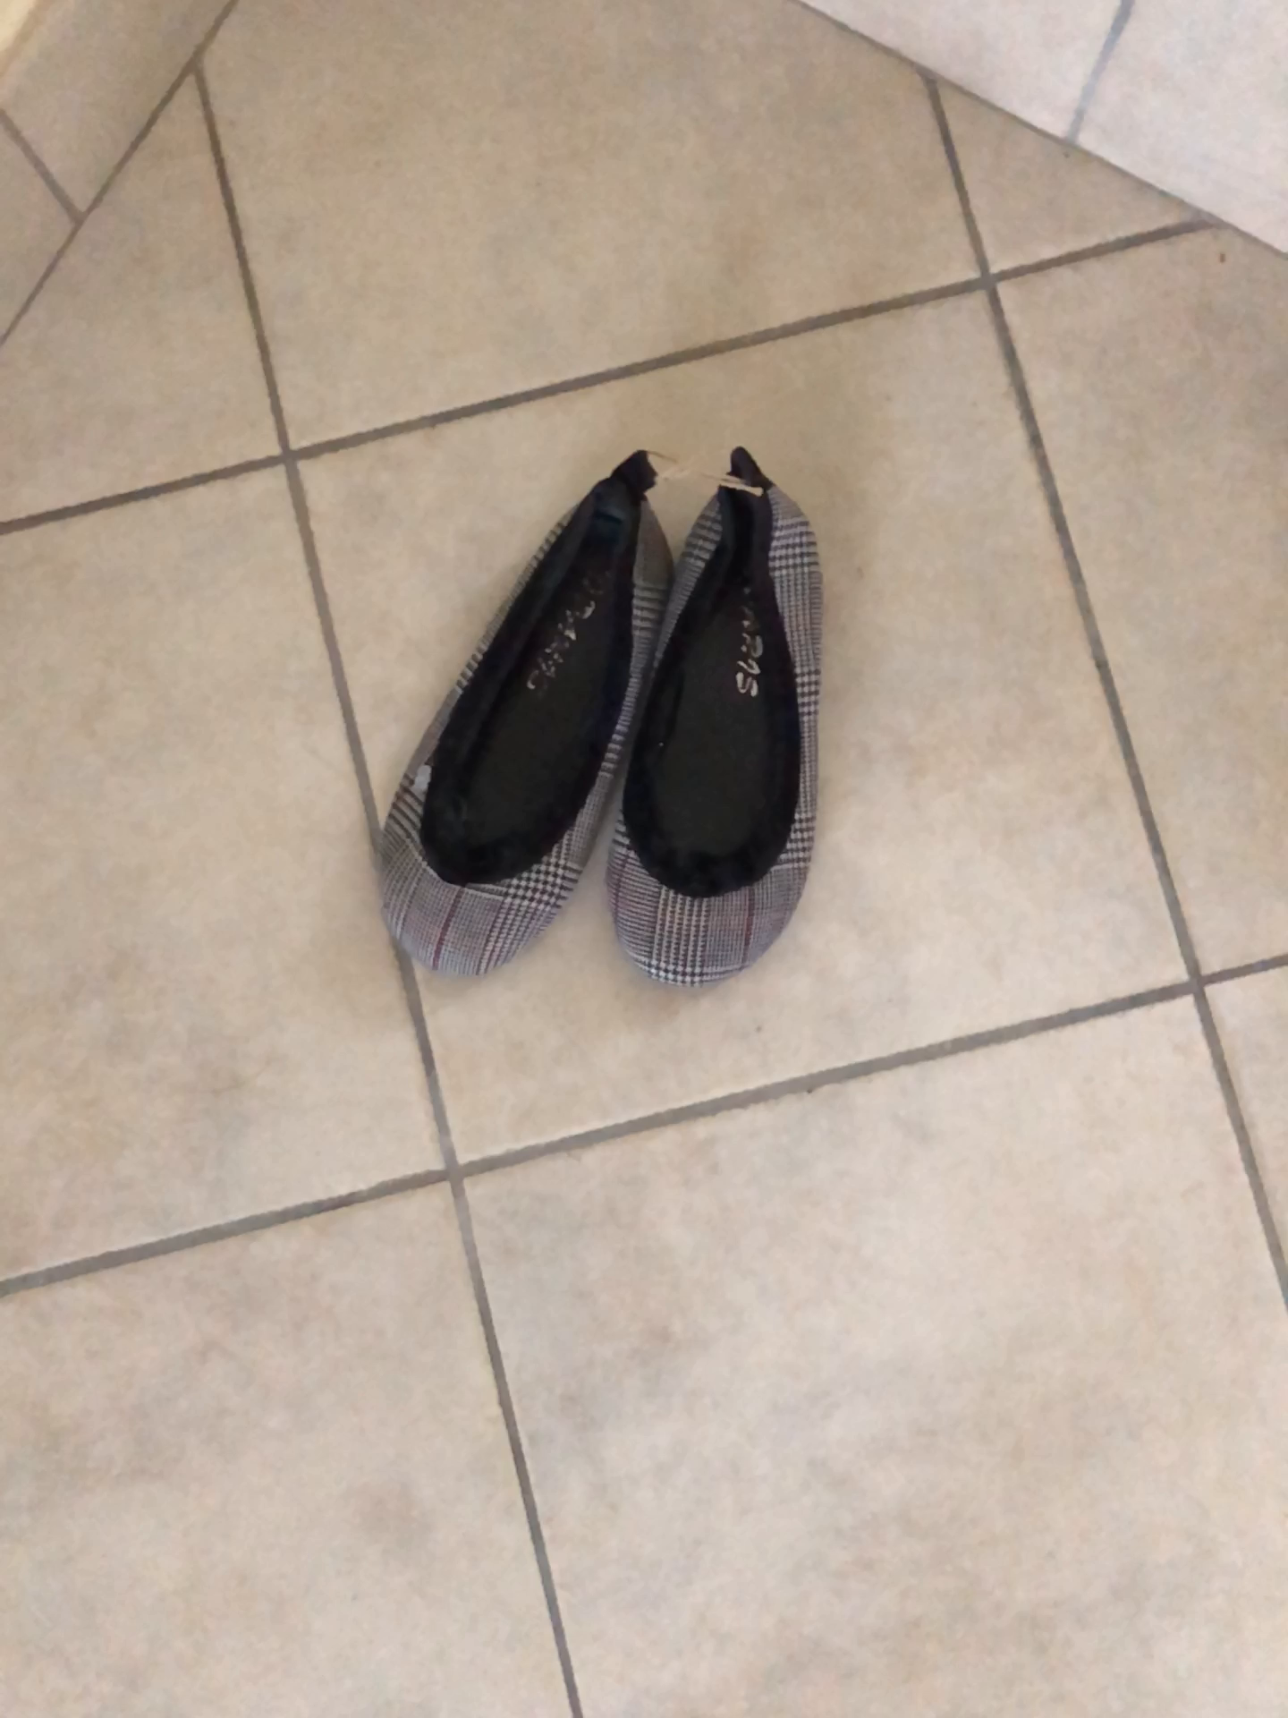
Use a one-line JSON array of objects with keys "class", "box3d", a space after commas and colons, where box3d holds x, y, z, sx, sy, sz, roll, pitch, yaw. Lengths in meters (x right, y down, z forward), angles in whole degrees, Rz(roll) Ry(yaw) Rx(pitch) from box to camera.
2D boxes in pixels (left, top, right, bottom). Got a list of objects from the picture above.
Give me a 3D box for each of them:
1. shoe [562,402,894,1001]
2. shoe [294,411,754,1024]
[{"class": "shoe", "box3d": [0.033, -0.056, 0.549, 0.090, 0.070, 0.210, 9, 84, 3]}, {"class": "shoe", "box3d": [-0.042, -0.051, 0.553, 0.090, 0.070, 0.210, 24, 85, 4]}]
